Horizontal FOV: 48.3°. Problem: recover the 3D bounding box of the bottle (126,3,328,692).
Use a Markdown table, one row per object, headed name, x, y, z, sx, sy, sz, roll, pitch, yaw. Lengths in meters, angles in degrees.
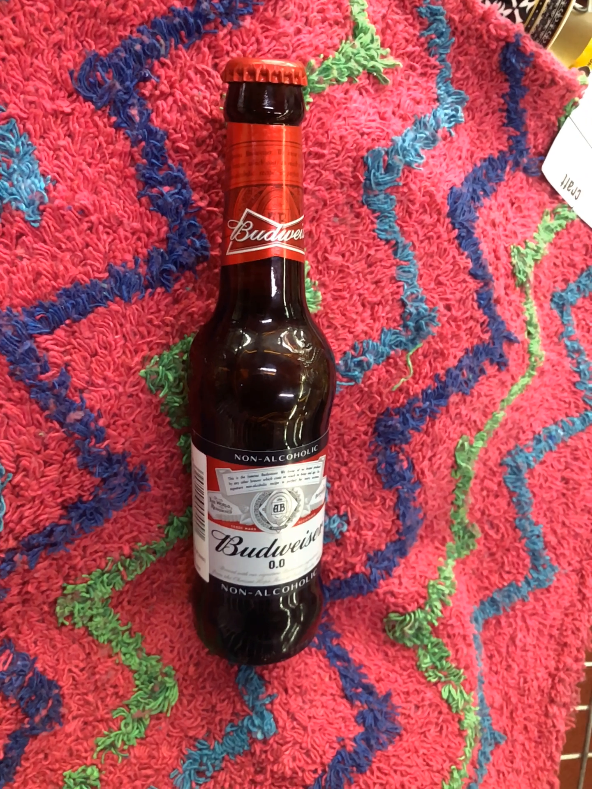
| name | x | y | z | sx | sy | sz | roll | pitch | yaw |
| --- | --- | --- | --- | --- | --- | --- | --- | --- | --- |
| bottle | -0.026 | -0.007 | 0.266 | 0.060 | 0.050 | 0.250 | -6 | 108 | -18 |
